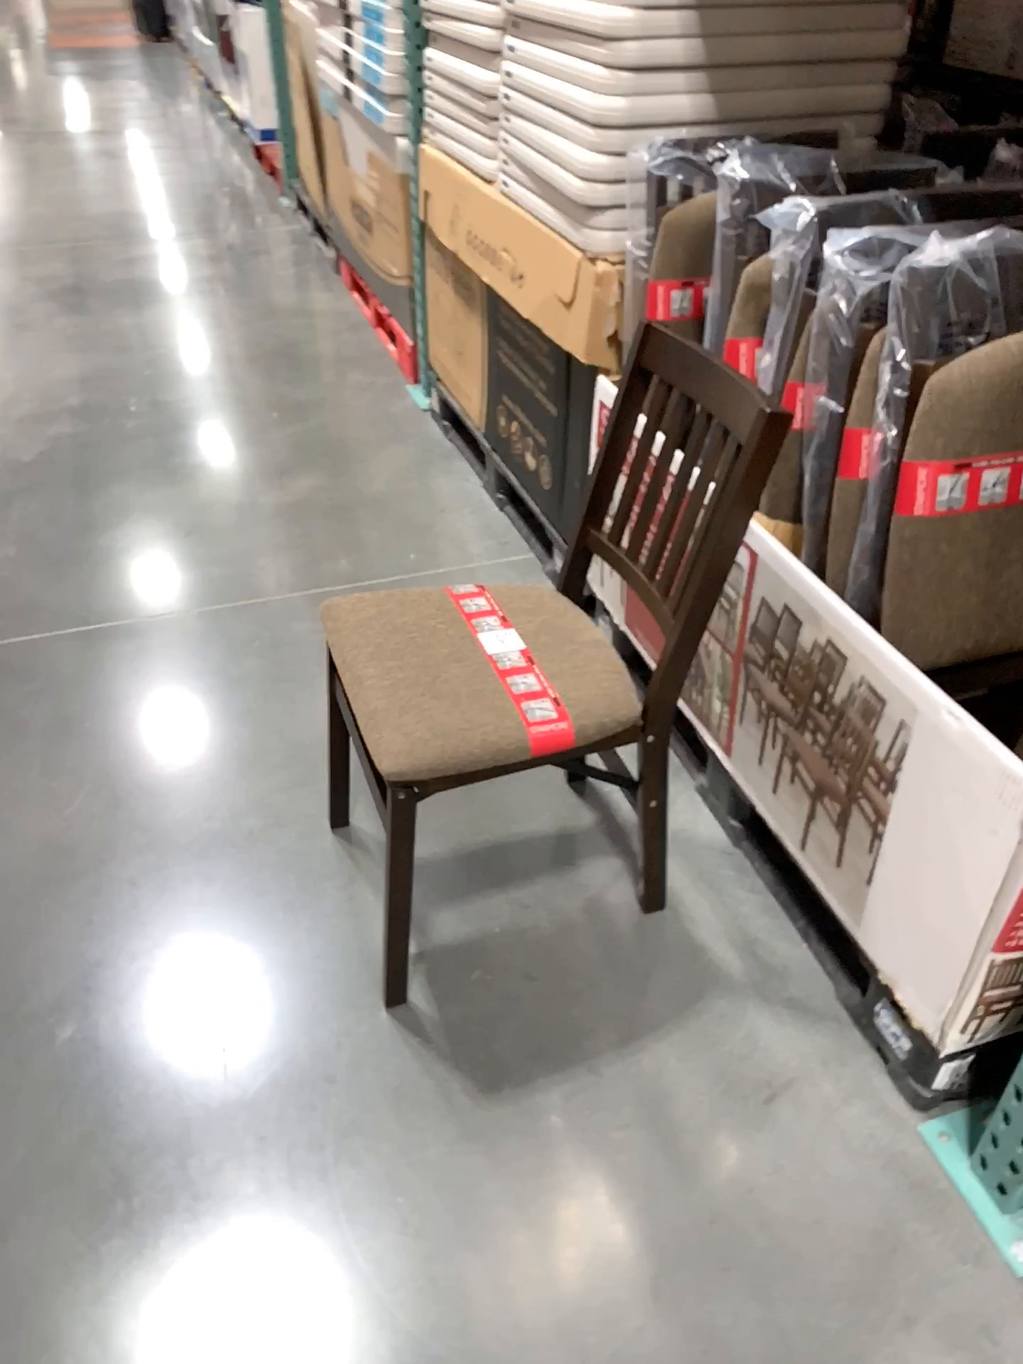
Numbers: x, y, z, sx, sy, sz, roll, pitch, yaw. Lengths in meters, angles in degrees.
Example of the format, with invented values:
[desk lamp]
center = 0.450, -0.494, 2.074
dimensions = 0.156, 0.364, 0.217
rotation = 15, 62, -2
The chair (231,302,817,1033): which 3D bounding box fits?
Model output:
[chair]
center = -0.010, -0.017, 1.482
dimensions = 0.572, 0.837, 0.423
rotation = -13, 39, -17
